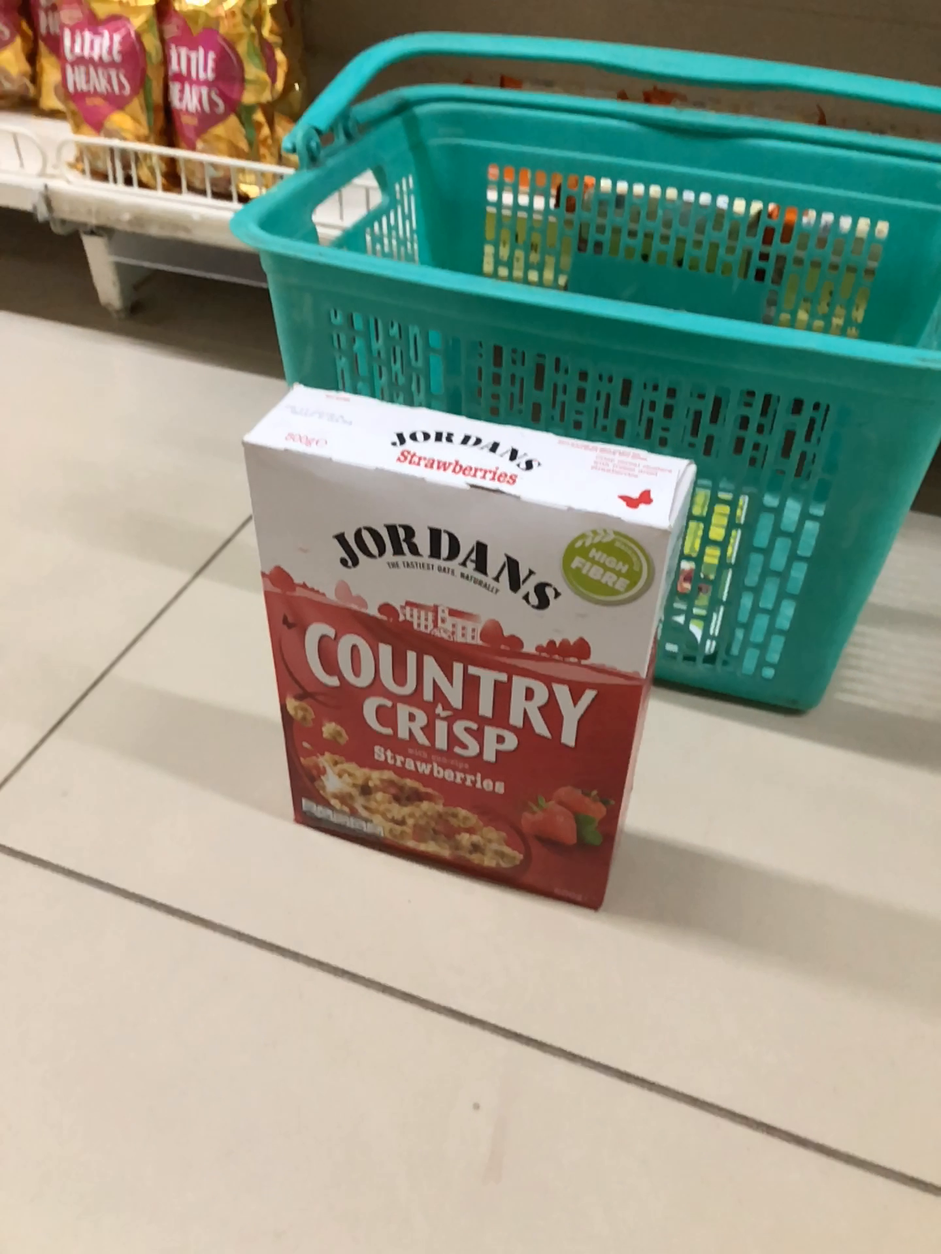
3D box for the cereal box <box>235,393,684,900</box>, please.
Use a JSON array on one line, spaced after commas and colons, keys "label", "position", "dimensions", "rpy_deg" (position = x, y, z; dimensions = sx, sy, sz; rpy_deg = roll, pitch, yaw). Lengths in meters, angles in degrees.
[{"label": "cereal box", "position": [-0.006, 0.021, 0.513], "dimensions": [0.180, 0.248, 0.050], "rpy_deg": [10, 42, 11]}]
